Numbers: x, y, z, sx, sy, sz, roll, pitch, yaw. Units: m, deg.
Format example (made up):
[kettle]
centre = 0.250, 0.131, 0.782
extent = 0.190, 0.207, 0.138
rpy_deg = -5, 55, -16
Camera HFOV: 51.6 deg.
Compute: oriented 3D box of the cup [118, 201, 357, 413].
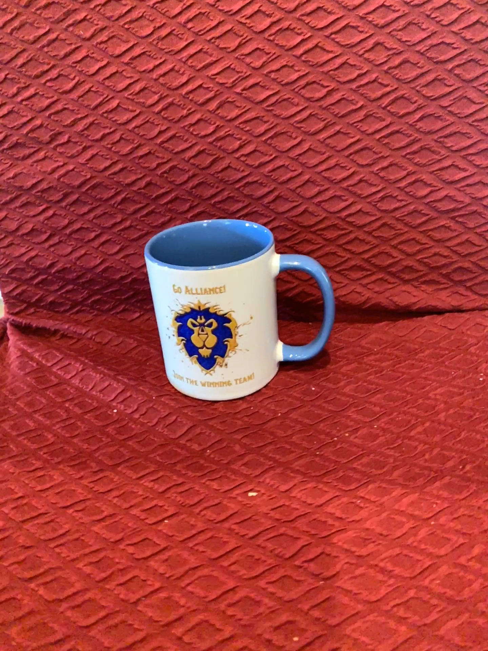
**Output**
[cup]
centre = 0.006, -0.017, 0.336
extent = 0.130, 0.099, 0.101
rpy_deg = 1, 32, 10
